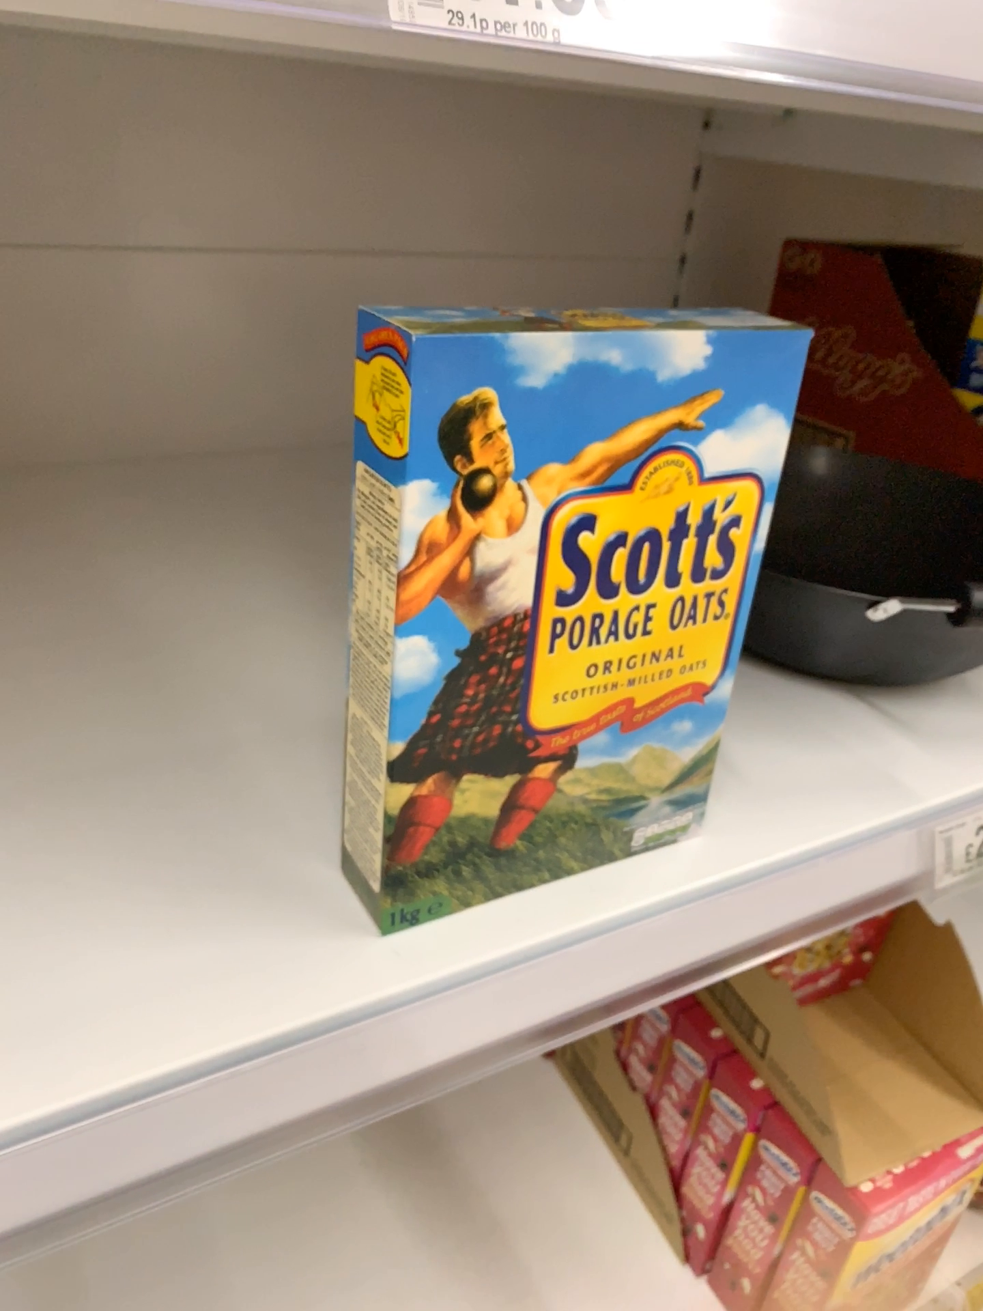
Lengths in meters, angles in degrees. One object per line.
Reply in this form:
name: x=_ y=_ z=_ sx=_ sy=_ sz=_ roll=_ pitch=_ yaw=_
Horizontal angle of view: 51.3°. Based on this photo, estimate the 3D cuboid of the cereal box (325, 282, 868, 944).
cereal box: x=0.038 y=-0.023 z=0.469 sx=0.211 sy=0.268 sz=0.070 roll=-10 pitch=32 yaw=-29
